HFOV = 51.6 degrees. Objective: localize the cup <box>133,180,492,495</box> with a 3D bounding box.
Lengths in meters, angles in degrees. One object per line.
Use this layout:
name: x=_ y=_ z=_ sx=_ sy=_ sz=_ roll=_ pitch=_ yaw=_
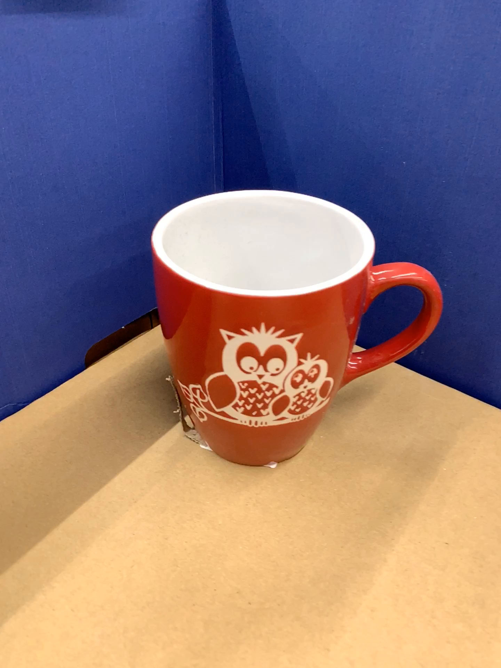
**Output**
cup: x=0.014 y=-0.006 z=0.234 sx=0.120 sy=0.091 sz=0.100 roll=-5 pitch=35 yaw=-9
